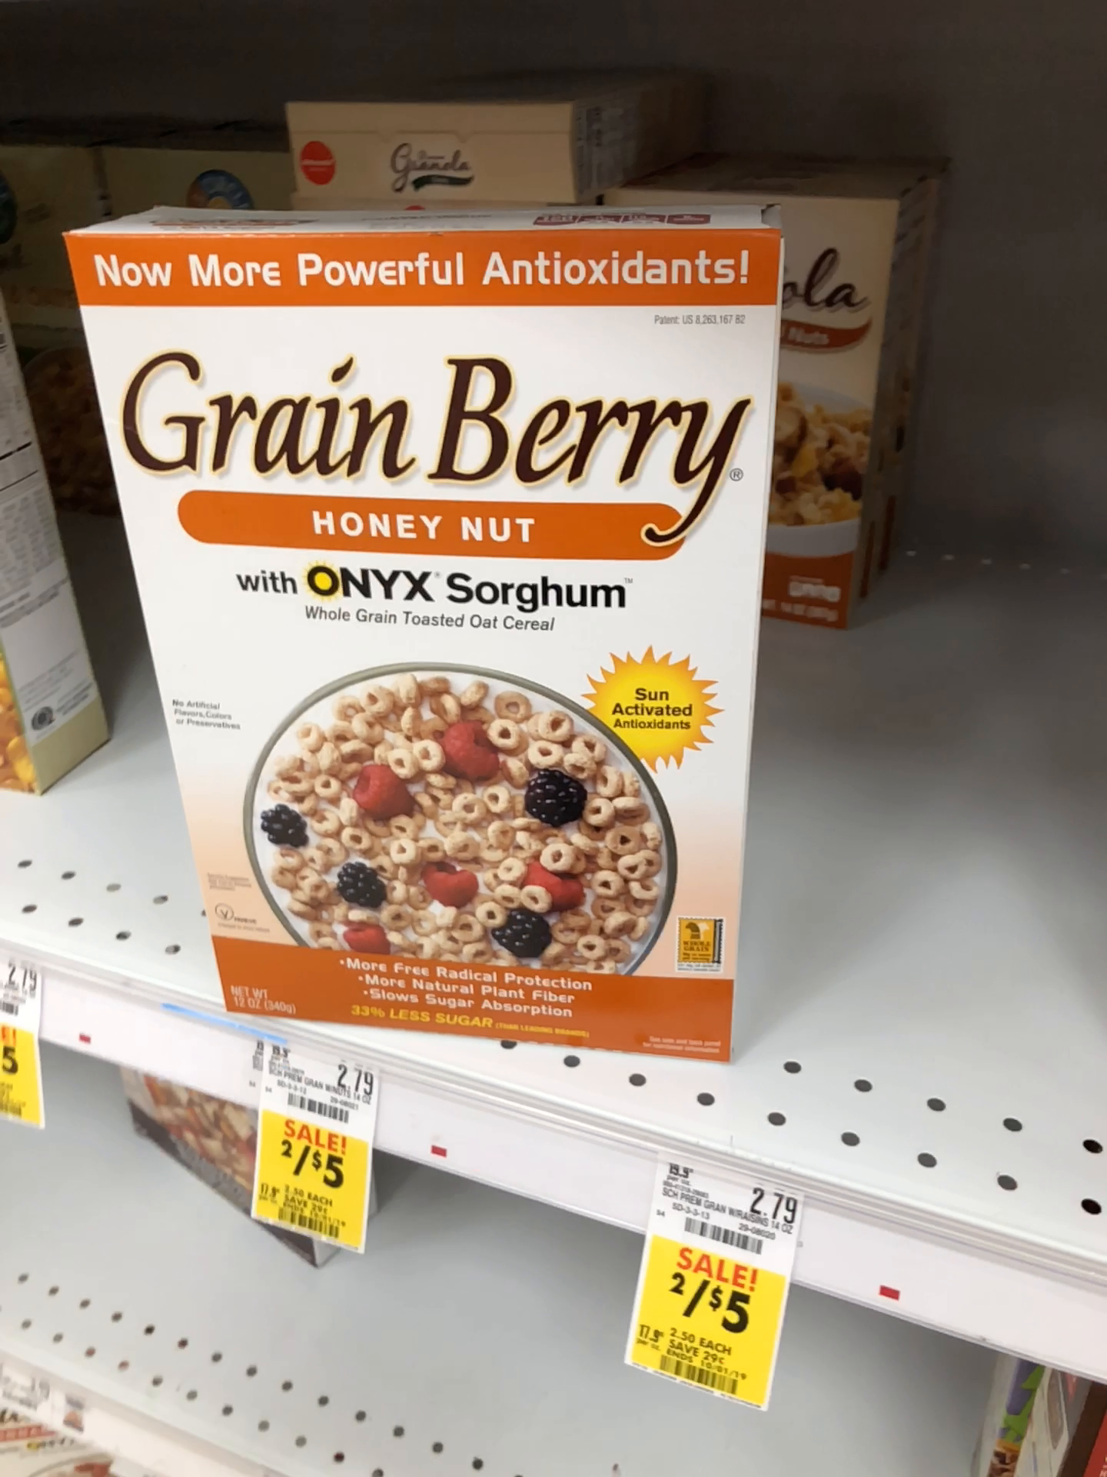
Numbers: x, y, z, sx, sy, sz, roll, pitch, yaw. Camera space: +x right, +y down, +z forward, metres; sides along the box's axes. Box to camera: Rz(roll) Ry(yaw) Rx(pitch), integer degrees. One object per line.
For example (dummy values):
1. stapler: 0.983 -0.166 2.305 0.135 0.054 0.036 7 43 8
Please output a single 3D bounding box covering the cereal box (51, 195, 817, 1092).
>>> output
1. cereal box: -0.026 -0.021 0.415 0.200 0.289 0.070 3 31 9
